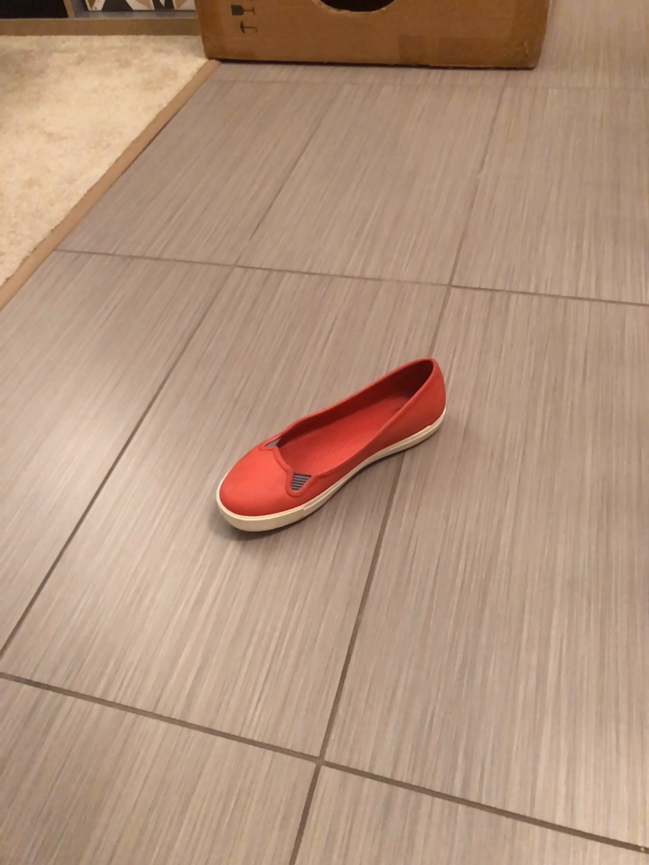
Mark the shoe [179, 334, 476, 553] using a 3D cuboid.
[{"bbox_3d":[0.007,0.005,0.707,0.270,0.070,0.100,-24,49,-15],"label":"shoe"}]
